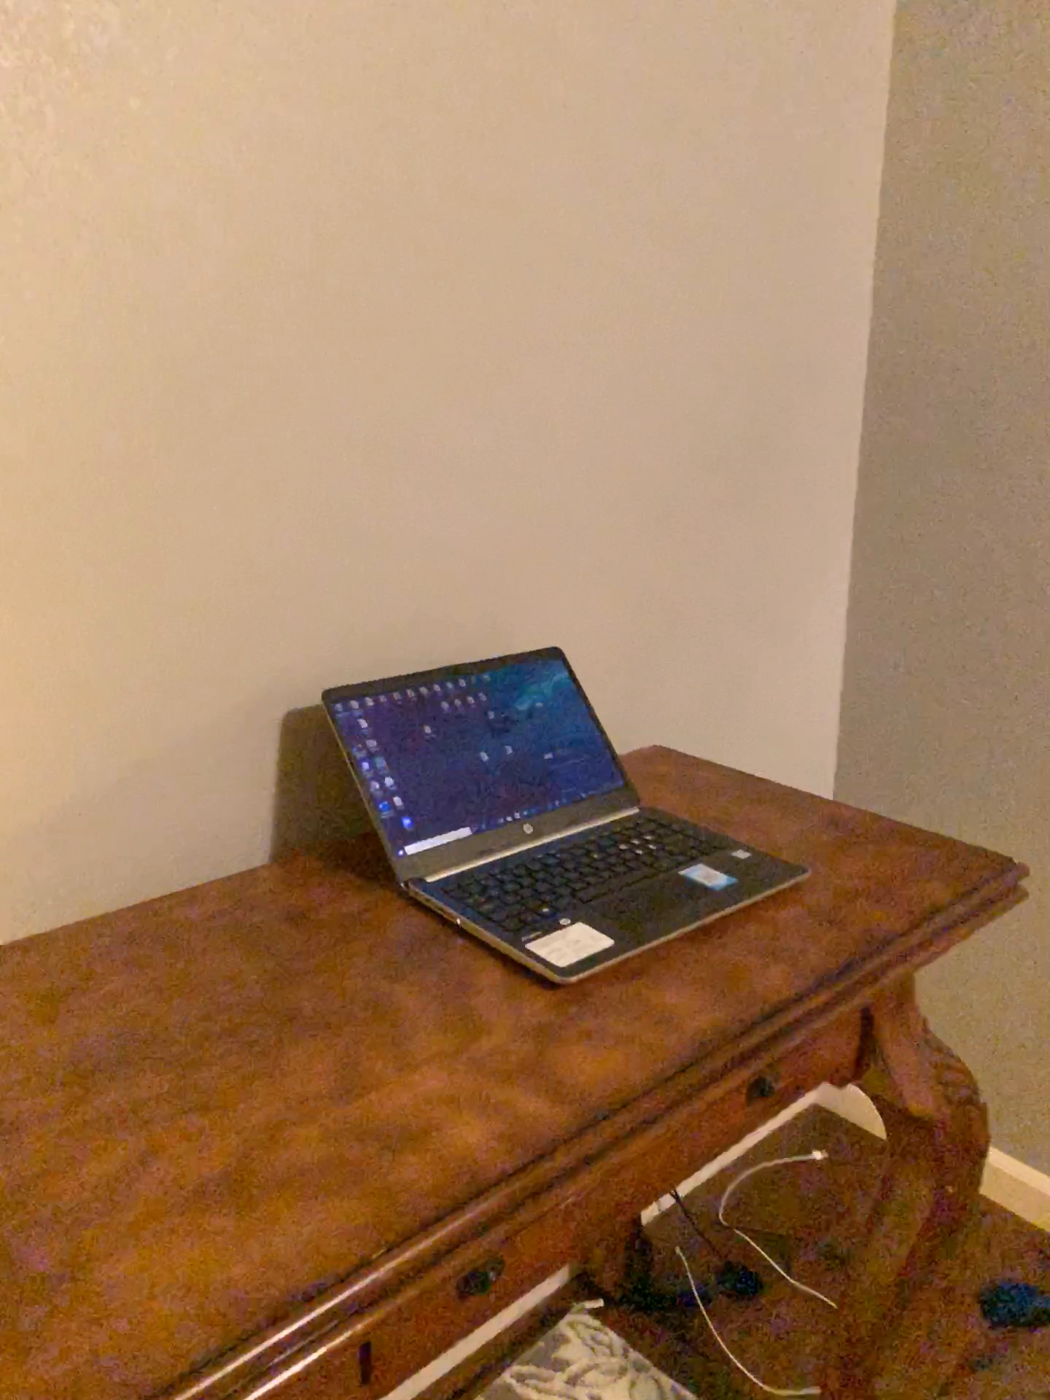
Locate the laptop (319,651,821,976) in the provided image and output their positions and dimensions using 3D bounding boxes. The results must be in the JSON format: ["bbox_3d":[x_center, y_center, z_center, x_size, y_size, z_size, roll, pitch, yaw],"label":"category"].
[{"bbox_3d":[0.035,0.079,1.056,0.318,0.152,0.368,-12,19,-39],"label":"laptop"}]
